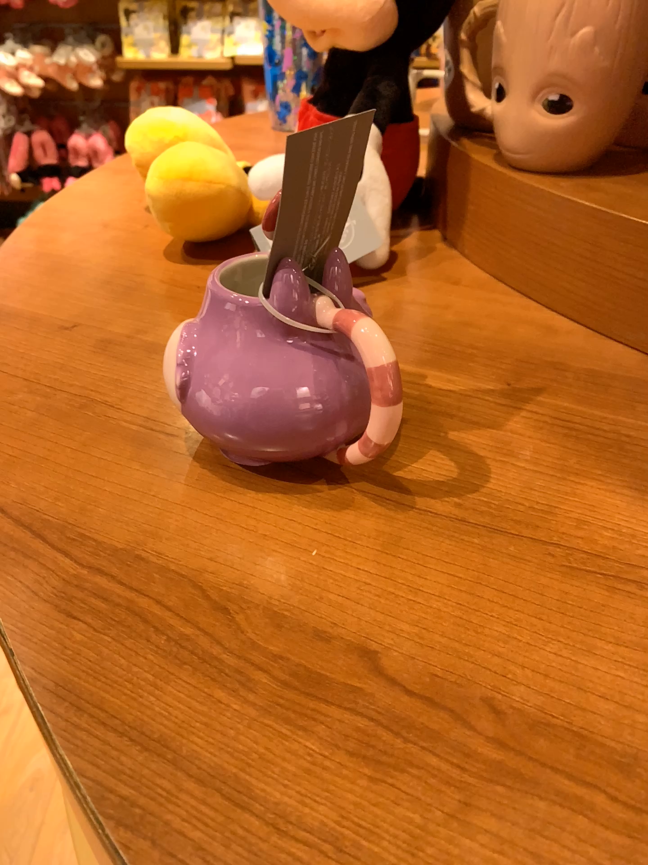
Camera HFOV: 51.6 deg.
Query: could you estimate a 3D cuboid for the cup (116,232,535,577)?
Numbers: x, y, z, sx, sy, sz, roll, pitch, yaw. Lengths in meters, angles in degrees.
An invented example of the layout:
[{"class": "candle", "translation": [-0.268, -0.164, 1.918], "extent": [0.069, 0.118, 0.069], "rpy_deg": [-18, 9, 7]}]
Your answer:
[{"class": "cup", "translation": [0.002, -0.026, 0.312], "extent": [0.142, 0.077, 0.115], "rpy_deg": [22, 39, 28]}]
